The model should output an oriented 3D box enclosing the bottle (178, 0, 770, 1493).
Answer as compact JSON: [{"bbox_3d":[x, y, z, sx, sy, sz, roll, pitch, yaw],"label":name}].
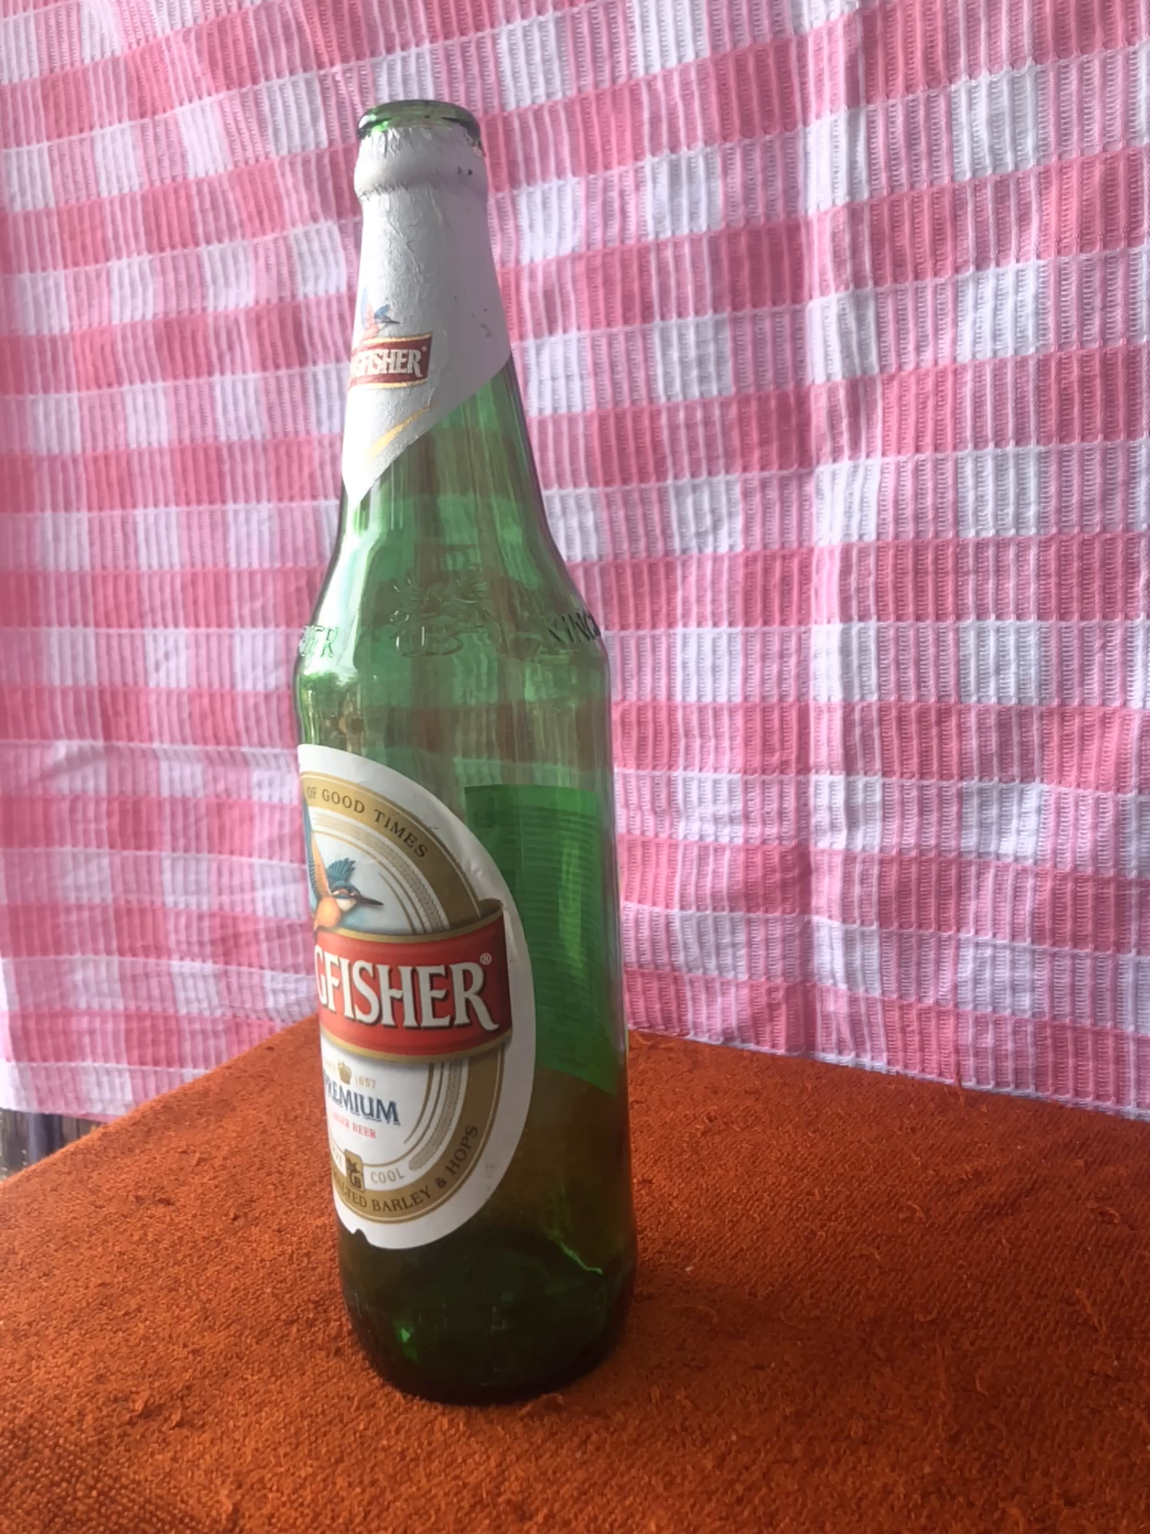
[{"bbox_3d":[-0.018,-0.006,0.289,0.080,0.289,0.090,-13,16,-39],"label":"bottle"}]
